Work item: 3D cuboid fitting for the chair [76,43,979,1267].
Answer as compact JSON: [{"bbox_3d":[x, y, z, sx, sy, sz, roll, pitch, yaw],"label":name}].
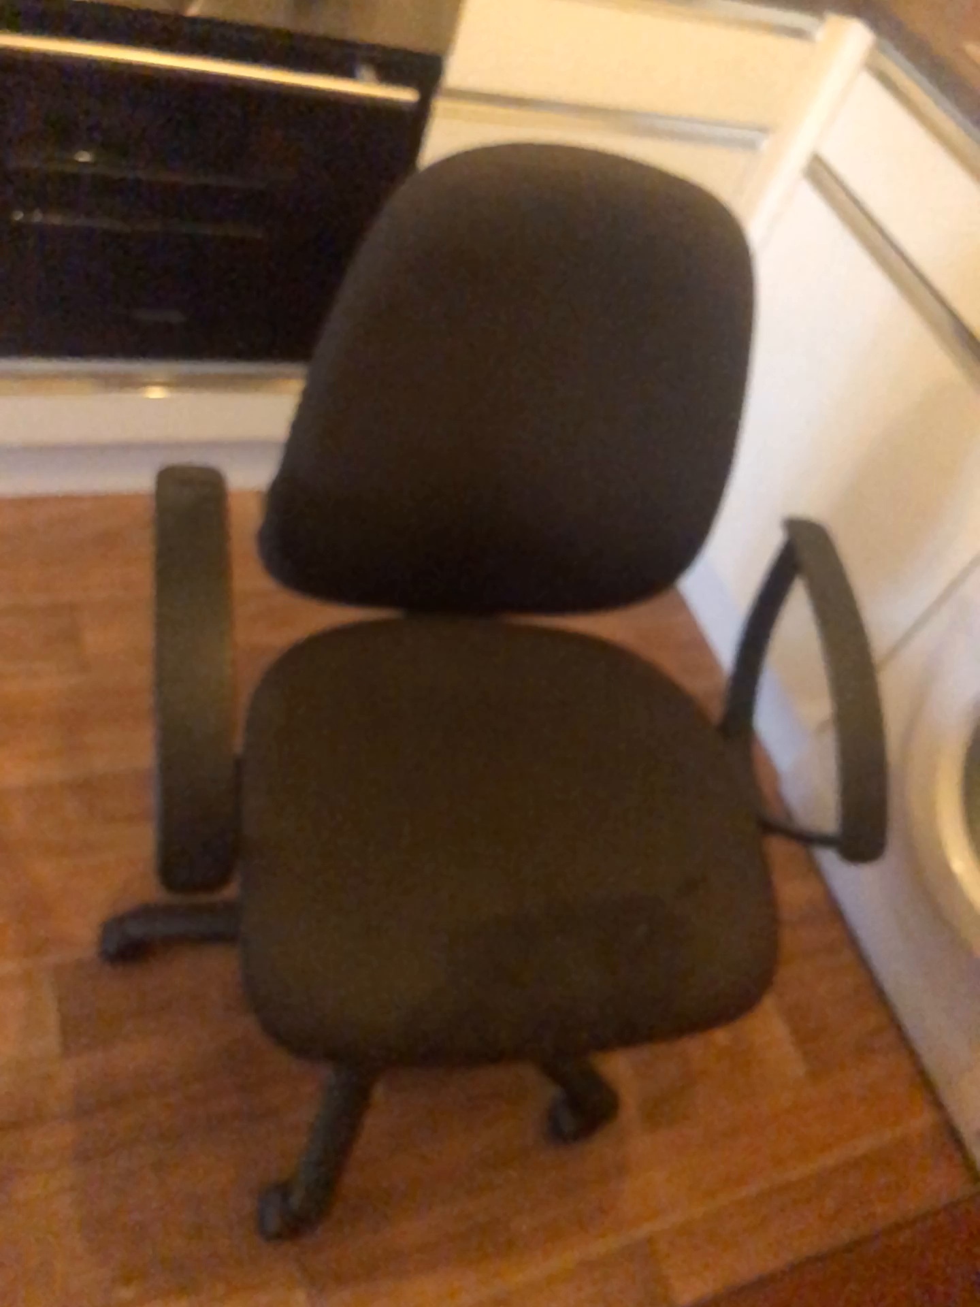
[{"bbox_3d":[0.012,0.084,1.021,0.674,0.816,0.655,4,51,-19],"label":"chair"}]
